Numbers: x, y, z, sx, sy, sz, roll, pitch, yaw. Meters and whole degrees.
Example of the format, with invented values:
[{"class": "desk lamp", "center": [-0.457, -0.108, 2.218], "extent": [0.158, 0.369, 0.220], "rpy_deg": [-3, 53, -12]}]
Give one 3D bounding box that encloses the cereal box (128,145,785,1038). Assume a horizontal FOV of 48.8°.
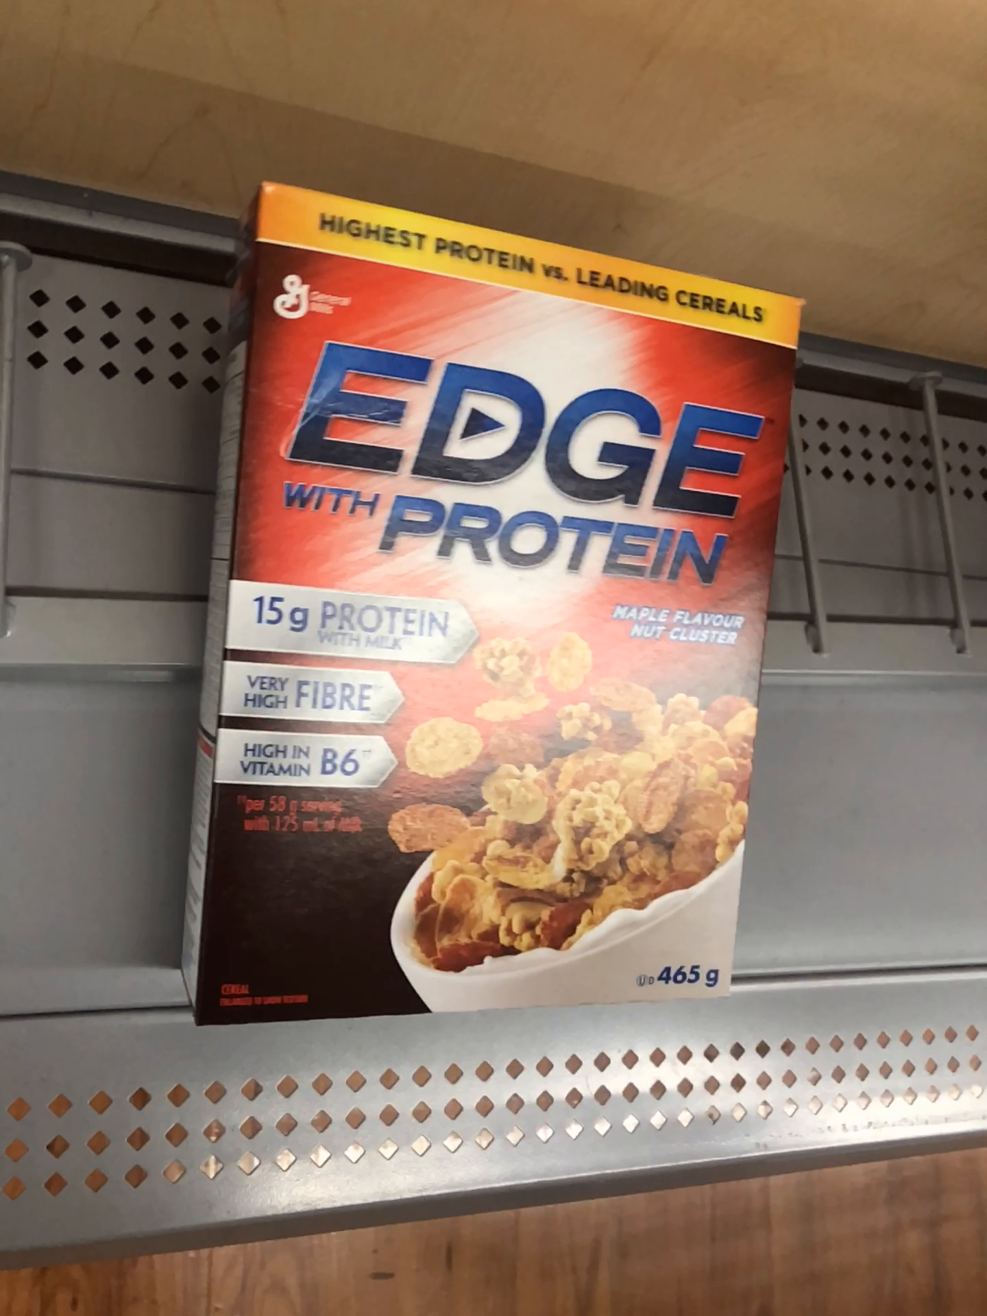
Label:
[{"class": "cereal box", "center": [-0.013, -0.013, 0.384], "extent": [0.200, 0.070, 0.260], "rpy_deg": [4, 91, -20]}]
